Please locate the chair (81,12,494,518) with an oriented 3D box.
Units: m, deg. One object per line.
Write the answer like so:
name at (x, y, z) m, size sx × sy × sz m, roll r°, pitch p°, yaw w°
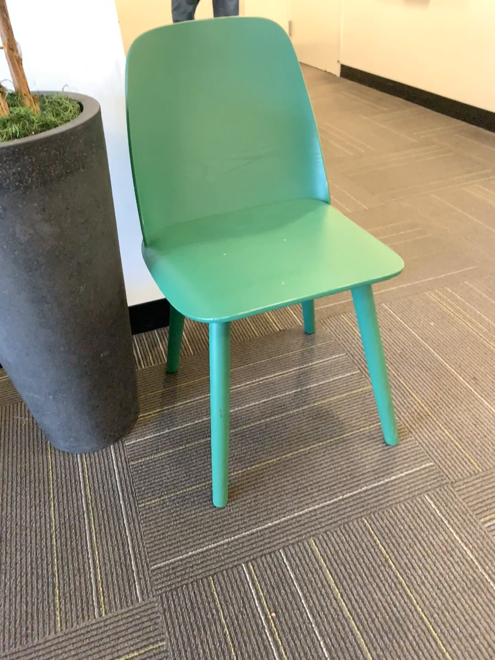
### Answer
chair at (-0.013, -0.187, 0.960) m, size 0.390 × 0.626 × 0.715 m, roll -14°, pitch 38°, yaw -12°
